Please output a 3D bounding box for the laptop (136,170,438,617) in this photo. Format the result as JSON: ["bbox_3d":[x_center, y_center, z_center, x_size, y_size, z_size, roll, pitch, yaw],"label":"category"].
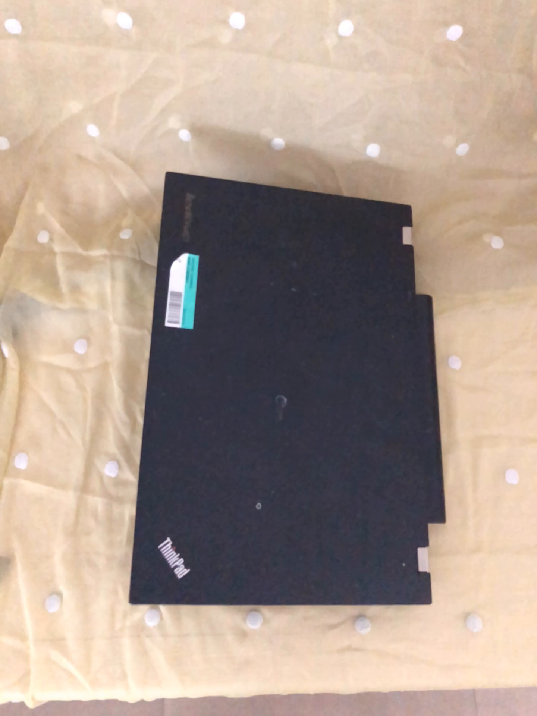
[{"bbox_3d":[0.018,0.017,0.515,0.225,0.050,0.356,2,74,2],"label":"laptop"}]
